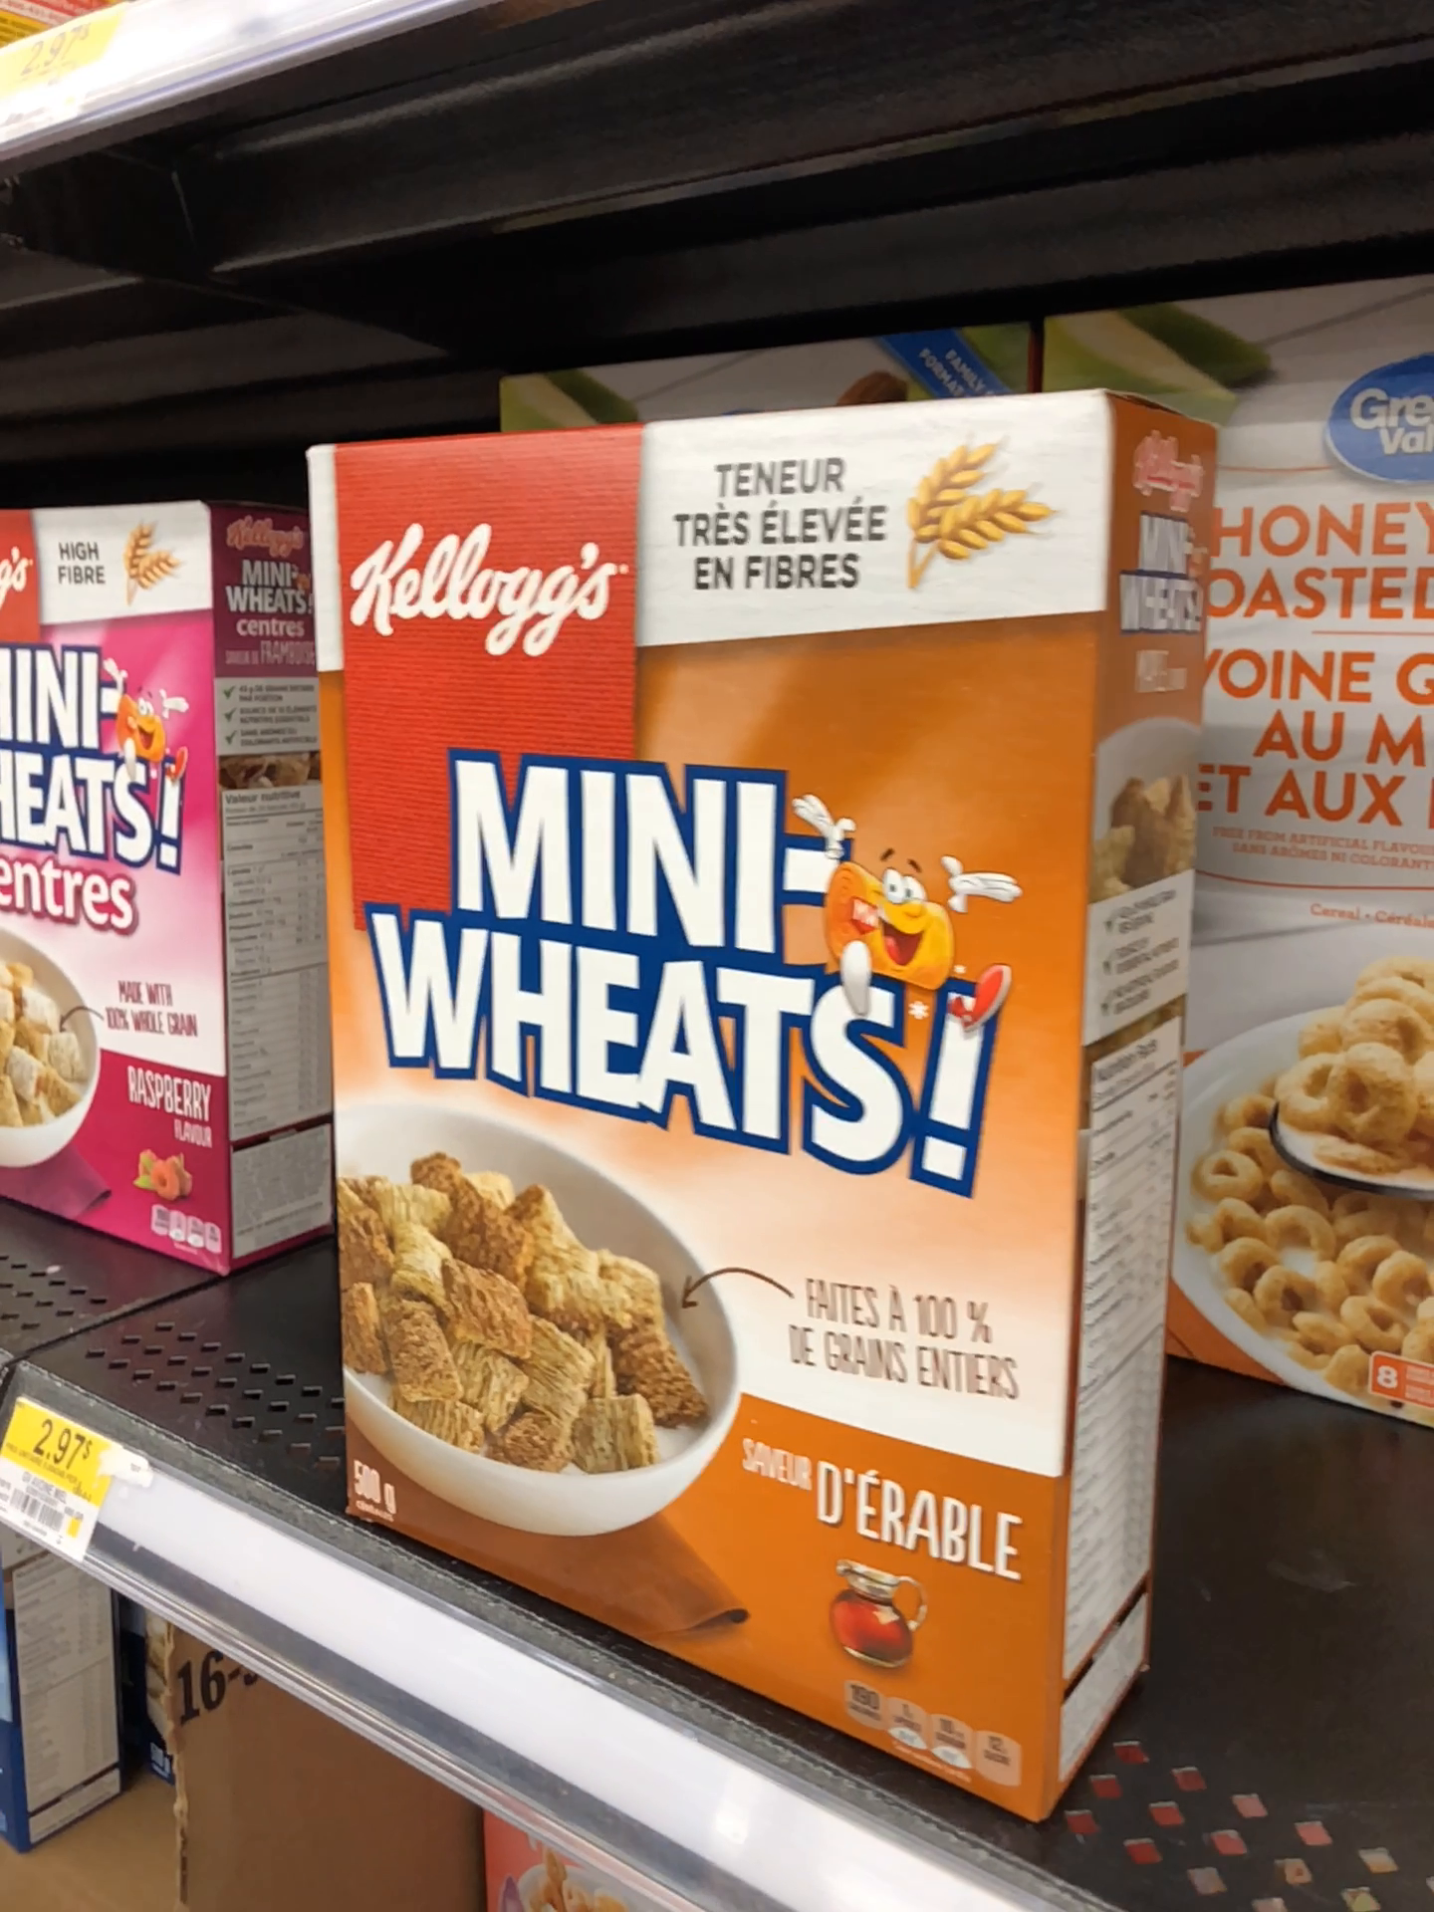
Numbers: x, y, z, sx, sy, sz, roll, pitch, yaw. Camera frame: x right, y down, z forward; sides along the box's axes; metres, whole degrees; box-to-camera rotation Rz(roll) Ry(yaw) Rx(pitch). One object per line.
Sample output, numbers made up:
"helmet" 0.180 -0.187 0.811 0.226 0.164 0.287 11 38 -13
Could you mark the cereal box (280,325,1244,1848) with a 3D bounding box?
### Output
"cereal box" -0.001 0.018 0.352 0.200 0.269 0.060 8 13 35
